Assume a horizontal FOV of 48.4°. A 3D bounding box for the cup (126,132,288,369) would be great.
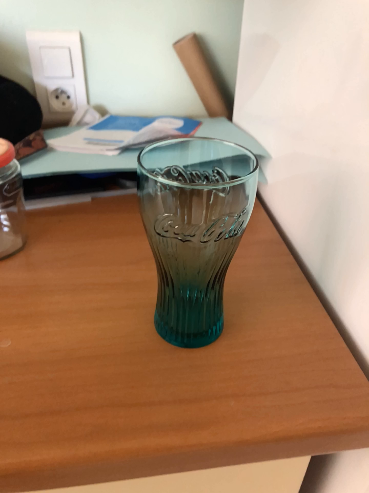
[{"bbox_3d":[0.007,0.002,0.292,0.080,0.139,0.080,2,34,-1],"label":"cup"}]
